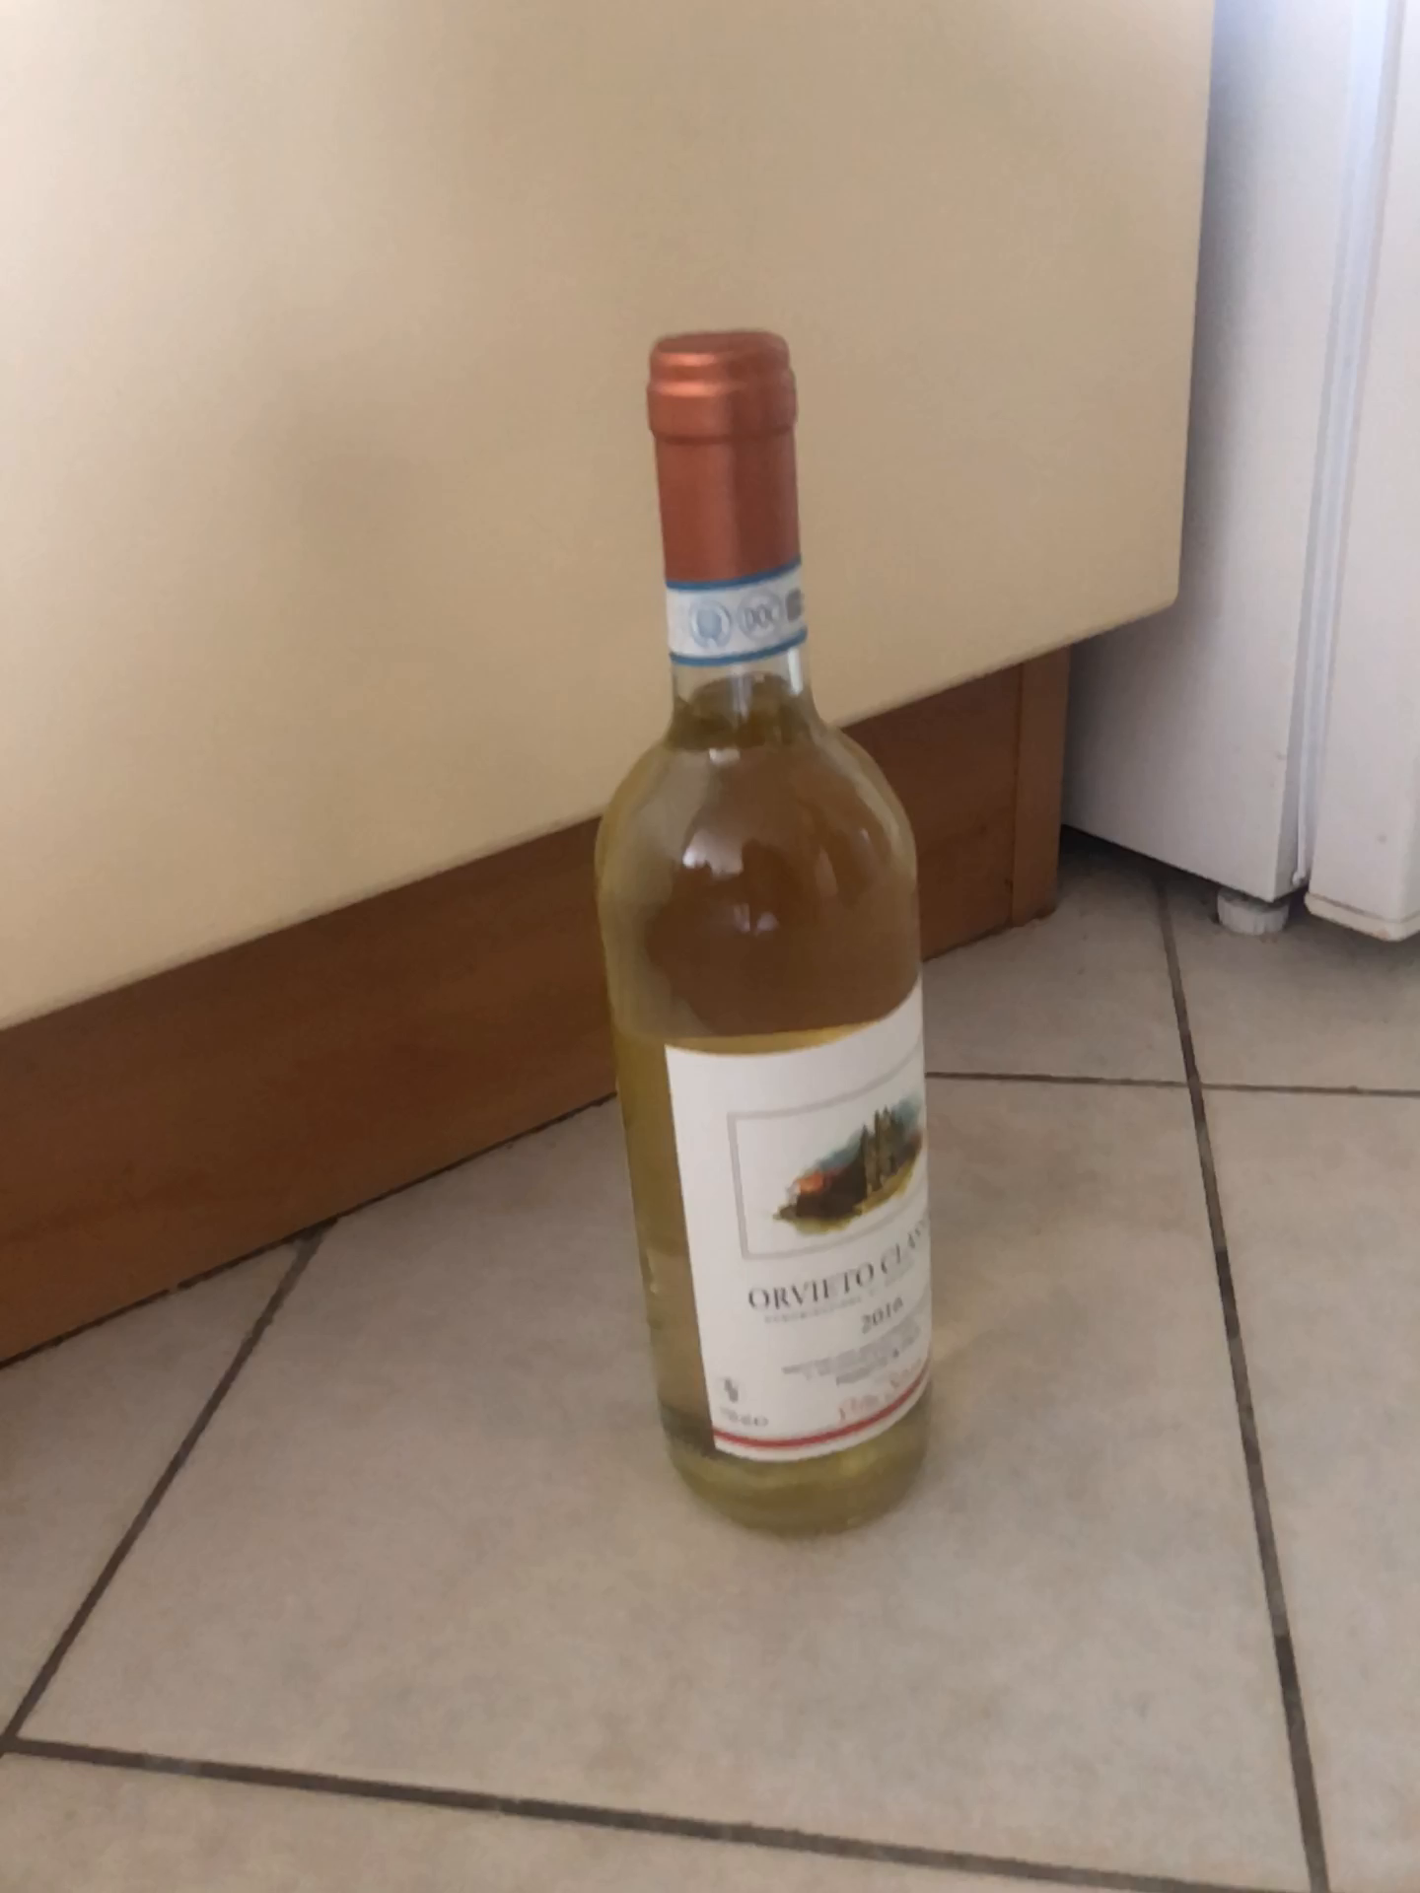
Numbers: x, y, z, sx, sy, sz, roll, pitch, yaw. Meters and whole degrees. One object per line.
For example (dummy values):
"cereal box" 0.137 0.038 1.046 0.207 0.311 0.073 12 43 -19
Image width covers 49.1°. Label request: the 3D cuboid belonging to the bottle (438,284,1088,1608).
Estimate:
"bottle" 0.018 0.005 0.370 0.090 0.288 0.090 -3 28 2
